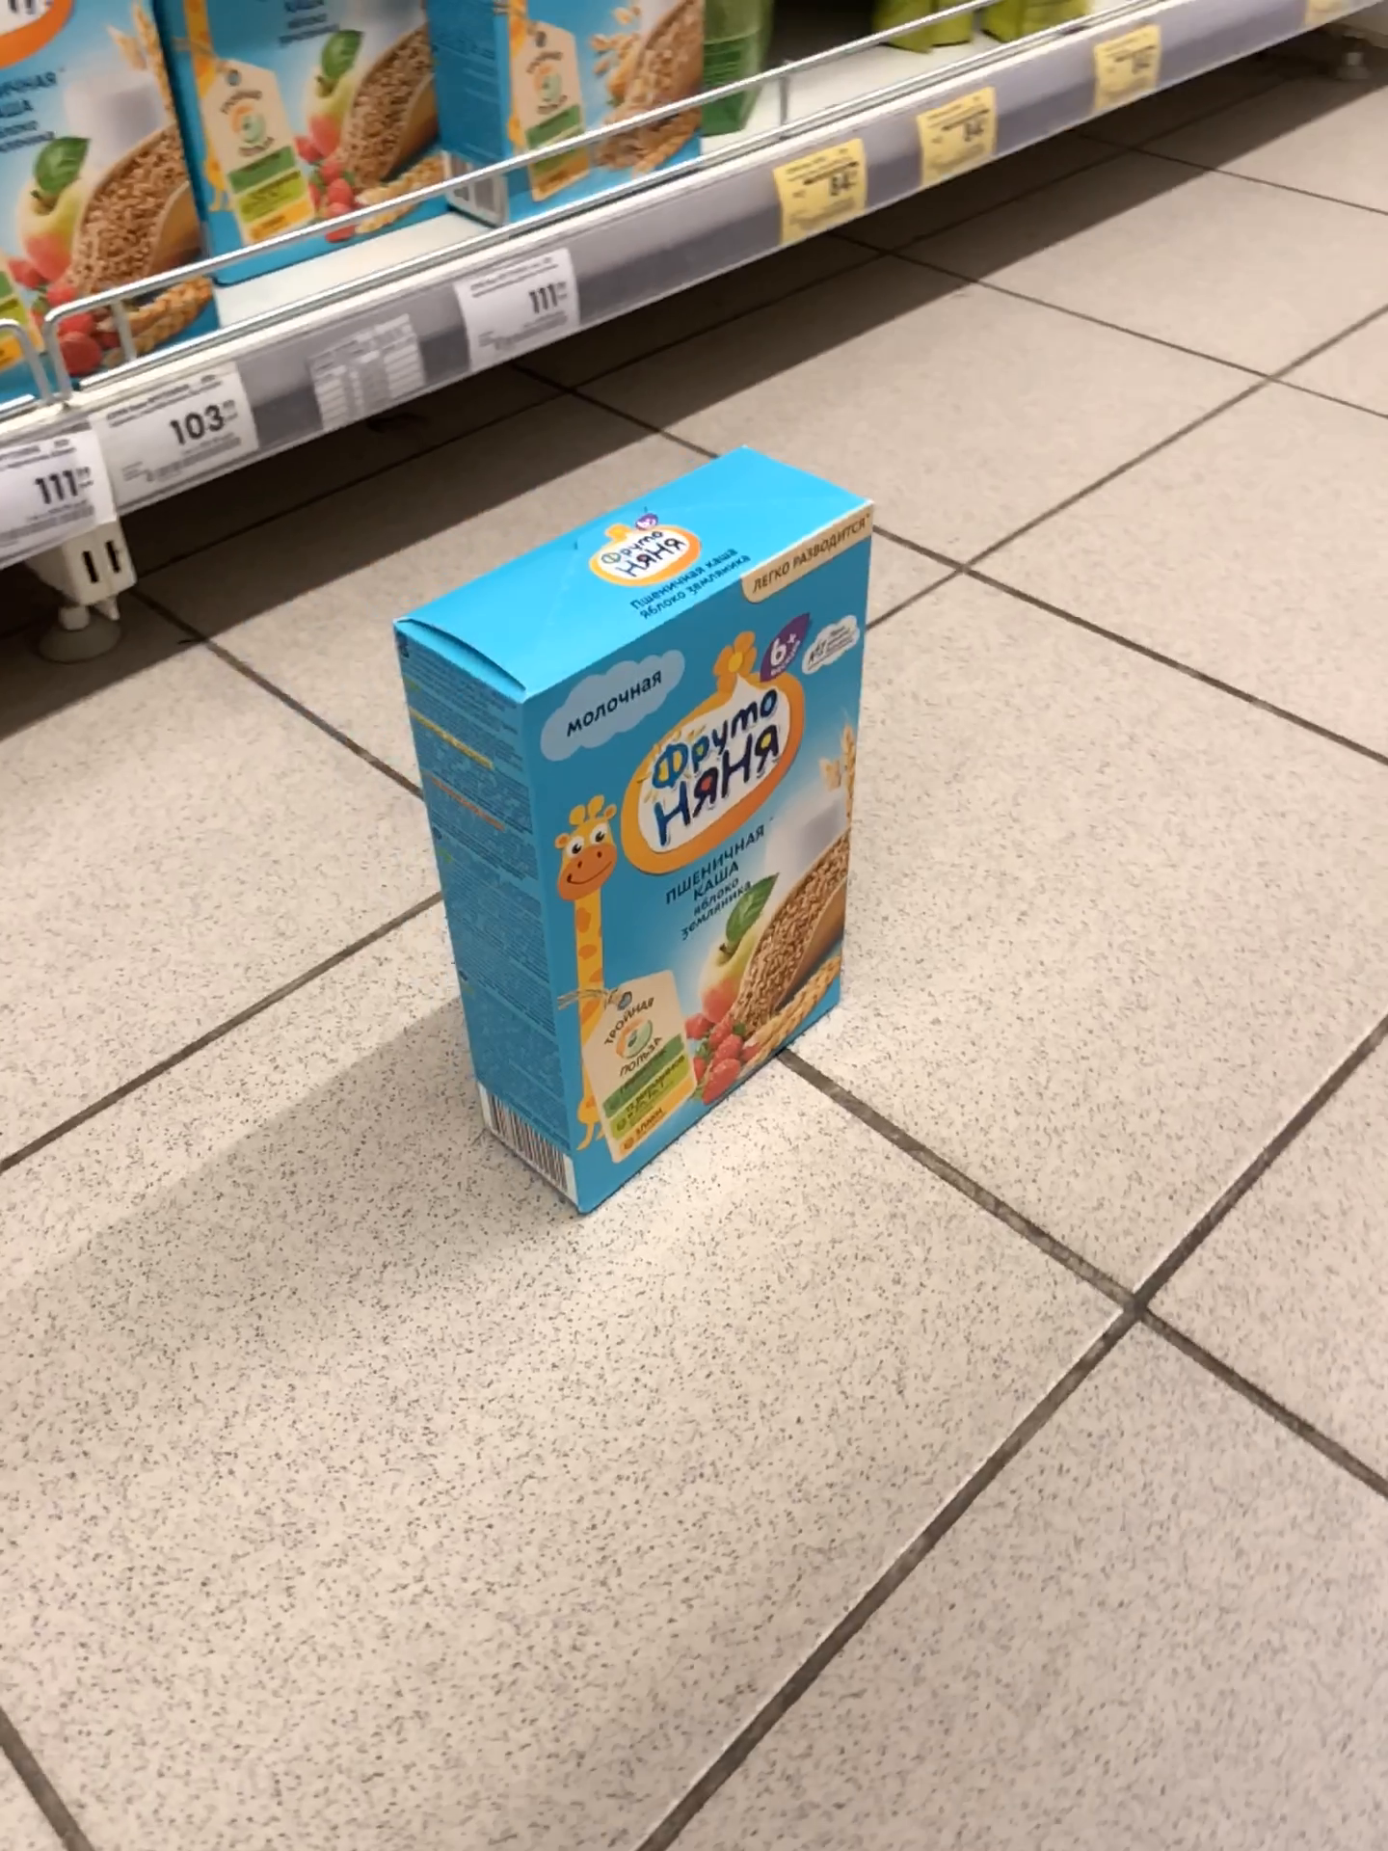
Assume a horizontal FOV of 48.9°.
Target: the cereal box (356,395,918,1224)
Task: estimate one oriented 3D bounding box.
[{"bbox_3d":[-0.009,-0.030,0.454,0.060,0.199,0.140,33,53,31],"label":"cereal box"}]
